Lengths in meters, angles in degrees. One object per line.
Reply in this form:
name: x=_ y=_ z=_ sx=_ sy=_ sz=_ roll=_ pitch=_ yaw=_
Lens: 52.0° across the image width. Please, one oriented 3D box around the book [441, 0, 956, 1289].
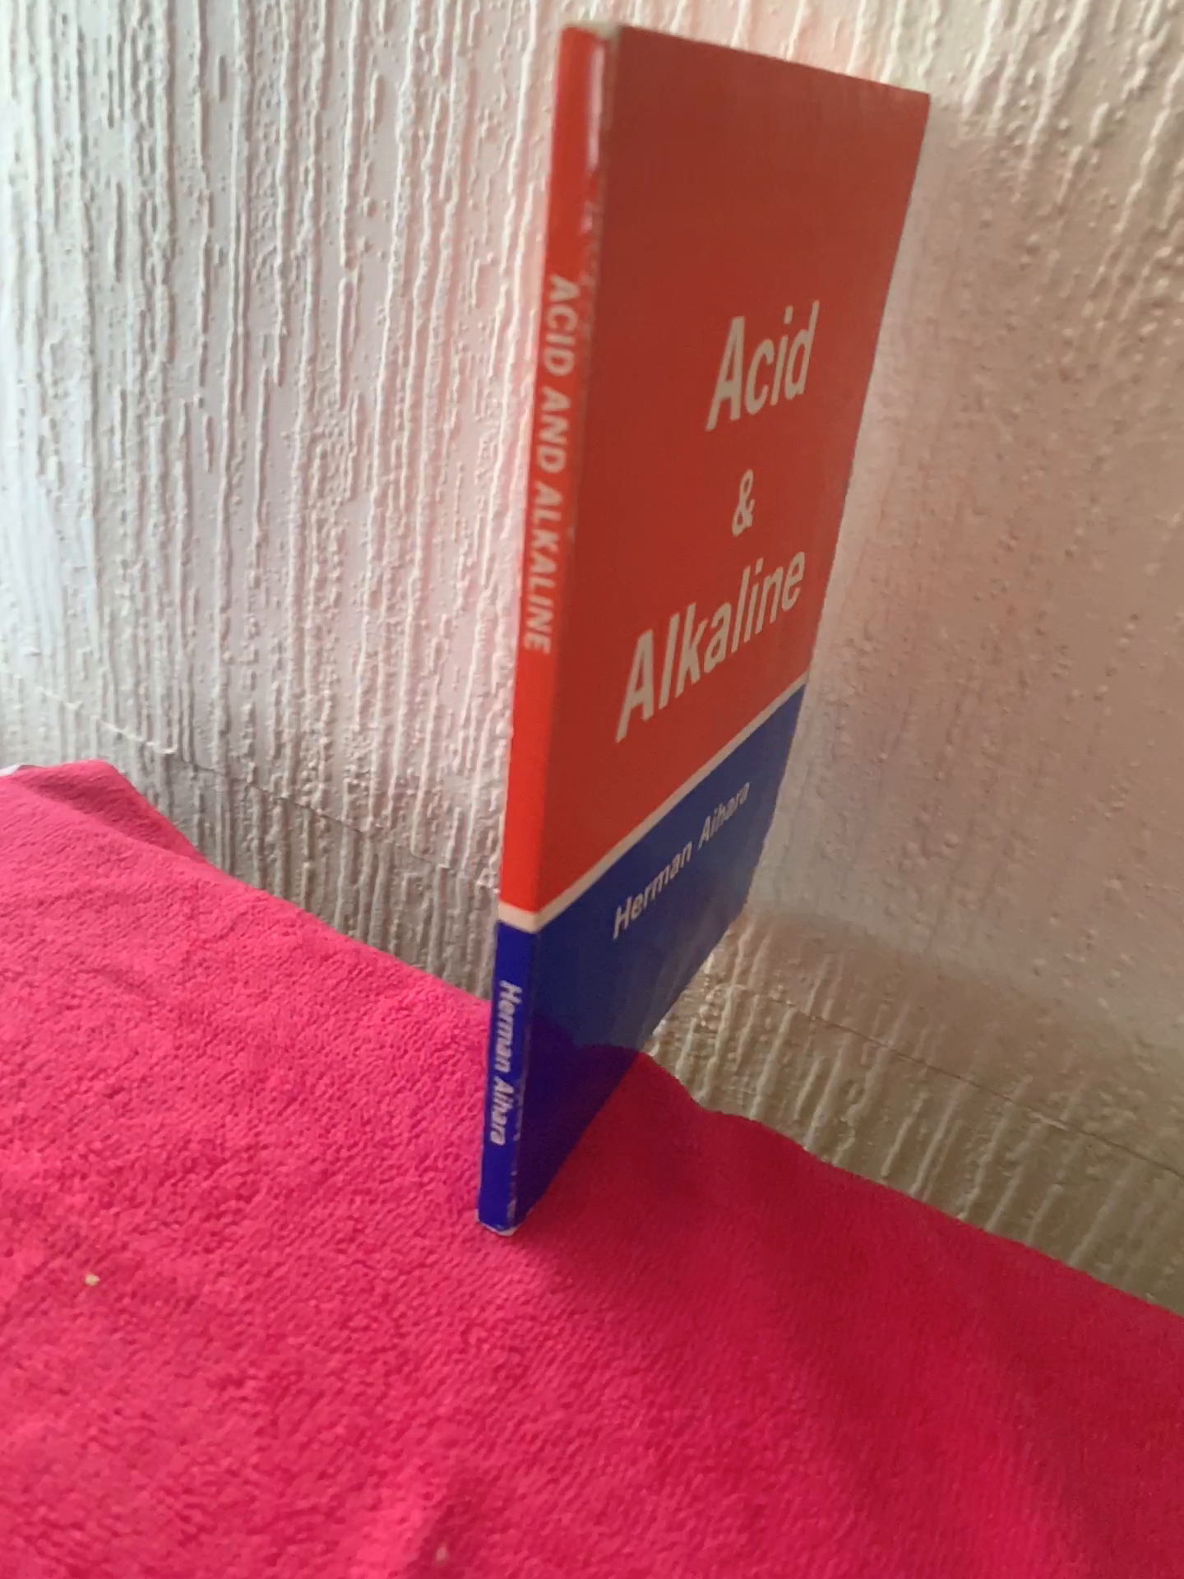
book: x=0.023 y=-0.029 z=0.246 sx=0.020 sy=0.208 sz=0.151 roll=18 pitch=31 yaw=20
